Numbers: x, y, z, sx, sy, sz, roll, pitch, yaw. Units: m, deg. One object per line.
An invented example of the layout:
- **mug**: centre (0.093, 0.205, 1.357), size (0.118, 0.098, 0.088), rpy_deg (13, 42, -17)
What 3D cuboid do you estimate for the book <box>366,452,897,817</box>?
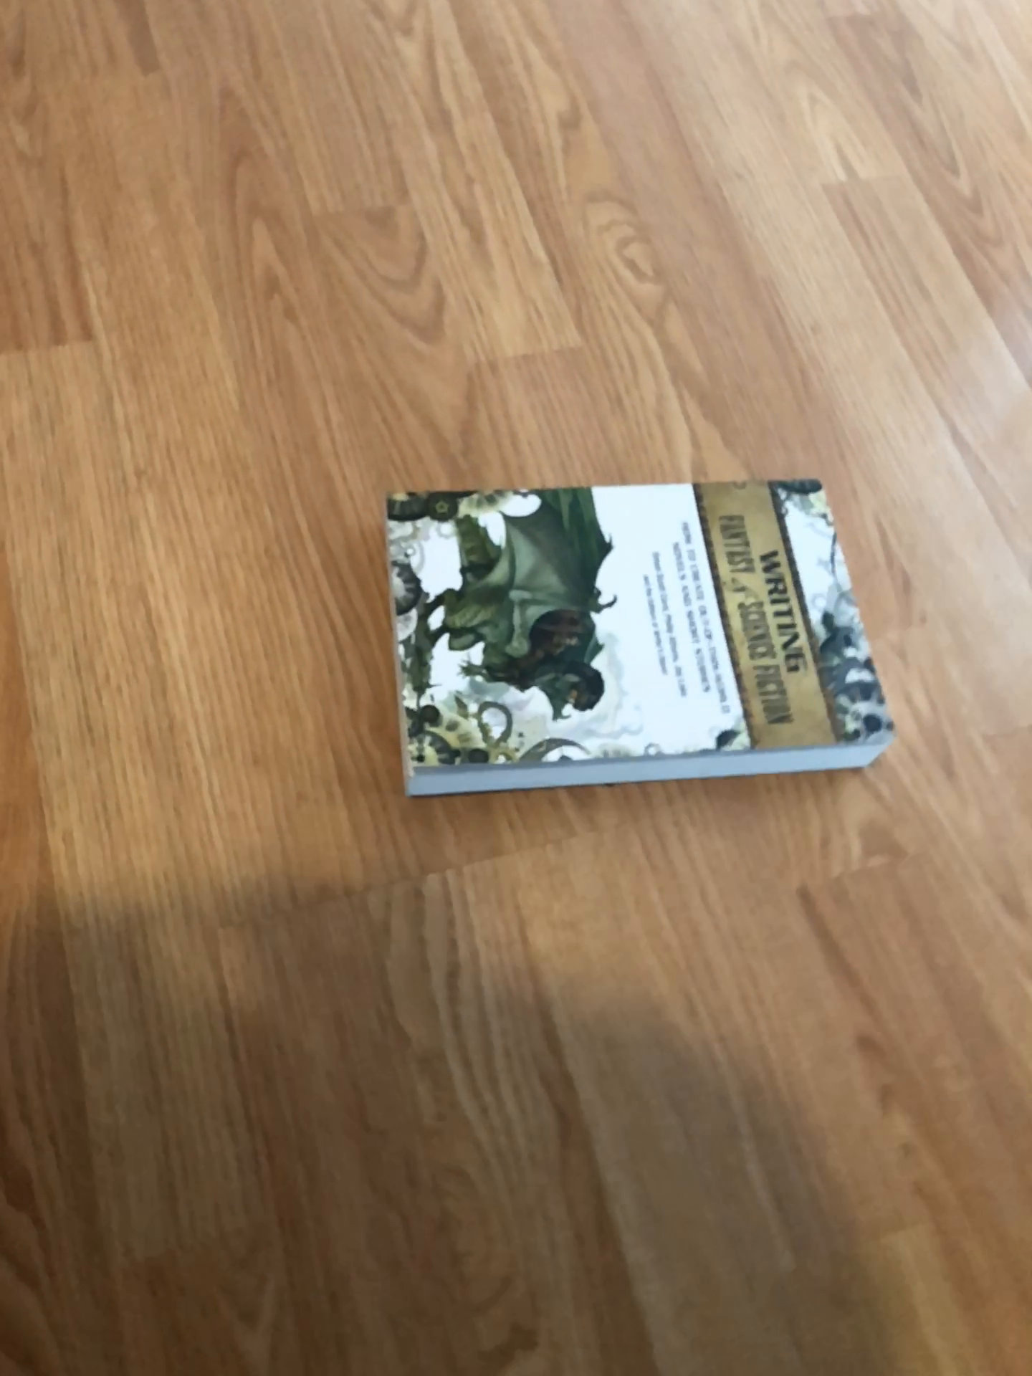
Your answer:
- **book**: centre (0.048, -0.031, 0.552), size (0.228, 0.040, 0.165), rpy_deg (-3, 66, -10)
